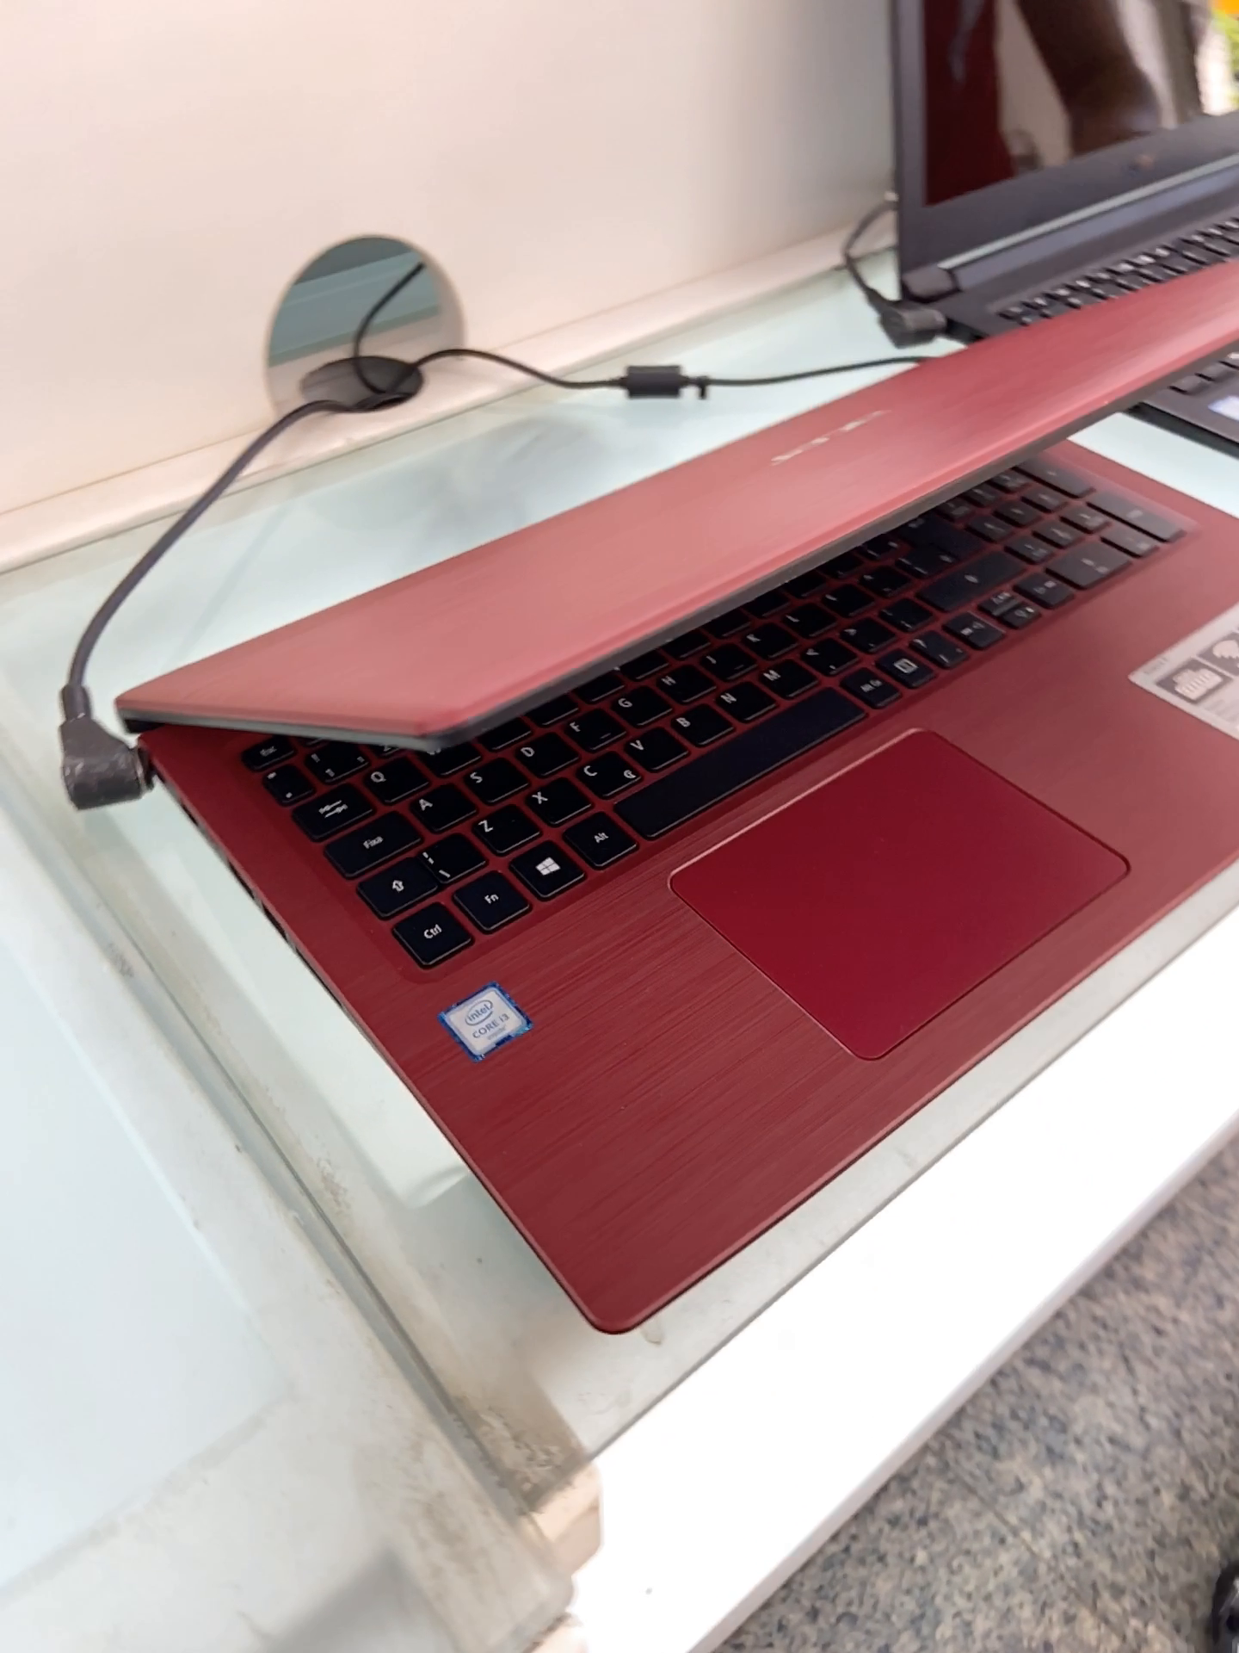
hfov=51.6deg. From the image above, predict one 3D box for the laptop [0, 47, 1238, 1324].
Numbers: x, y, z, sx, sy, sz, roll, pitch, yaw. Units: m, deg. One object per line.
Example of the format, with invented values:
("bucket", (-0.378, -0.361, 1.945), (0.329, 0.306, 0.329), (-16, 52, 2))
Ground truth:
("laptop", (0.070, -0.095, 0.369), (0.380, 0.132, 0.237), (-30, 51, -27))
